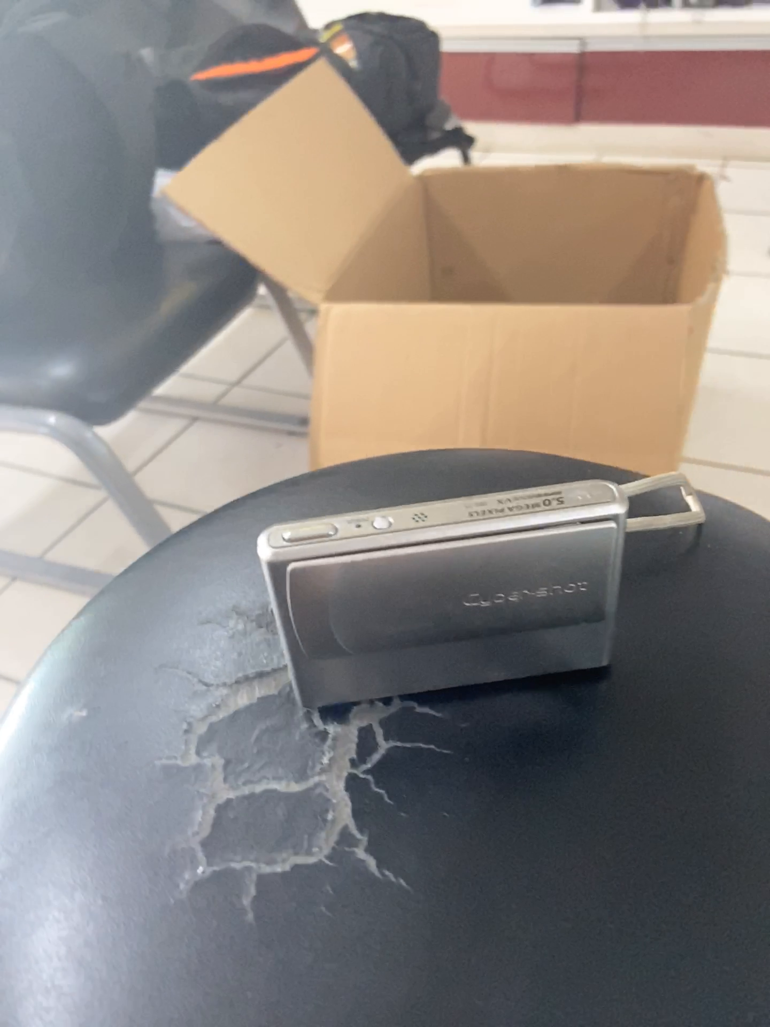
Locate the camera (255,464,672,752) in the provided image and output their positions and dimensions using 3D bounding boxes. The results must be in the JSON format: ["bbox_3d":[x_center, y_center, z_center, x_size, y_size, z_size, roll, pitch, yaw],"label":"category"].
[{"bbox_3d":[0.020,0.027,0.219,0.100,0.060,0.030,-9,39,-3],"label":"camera"}]
